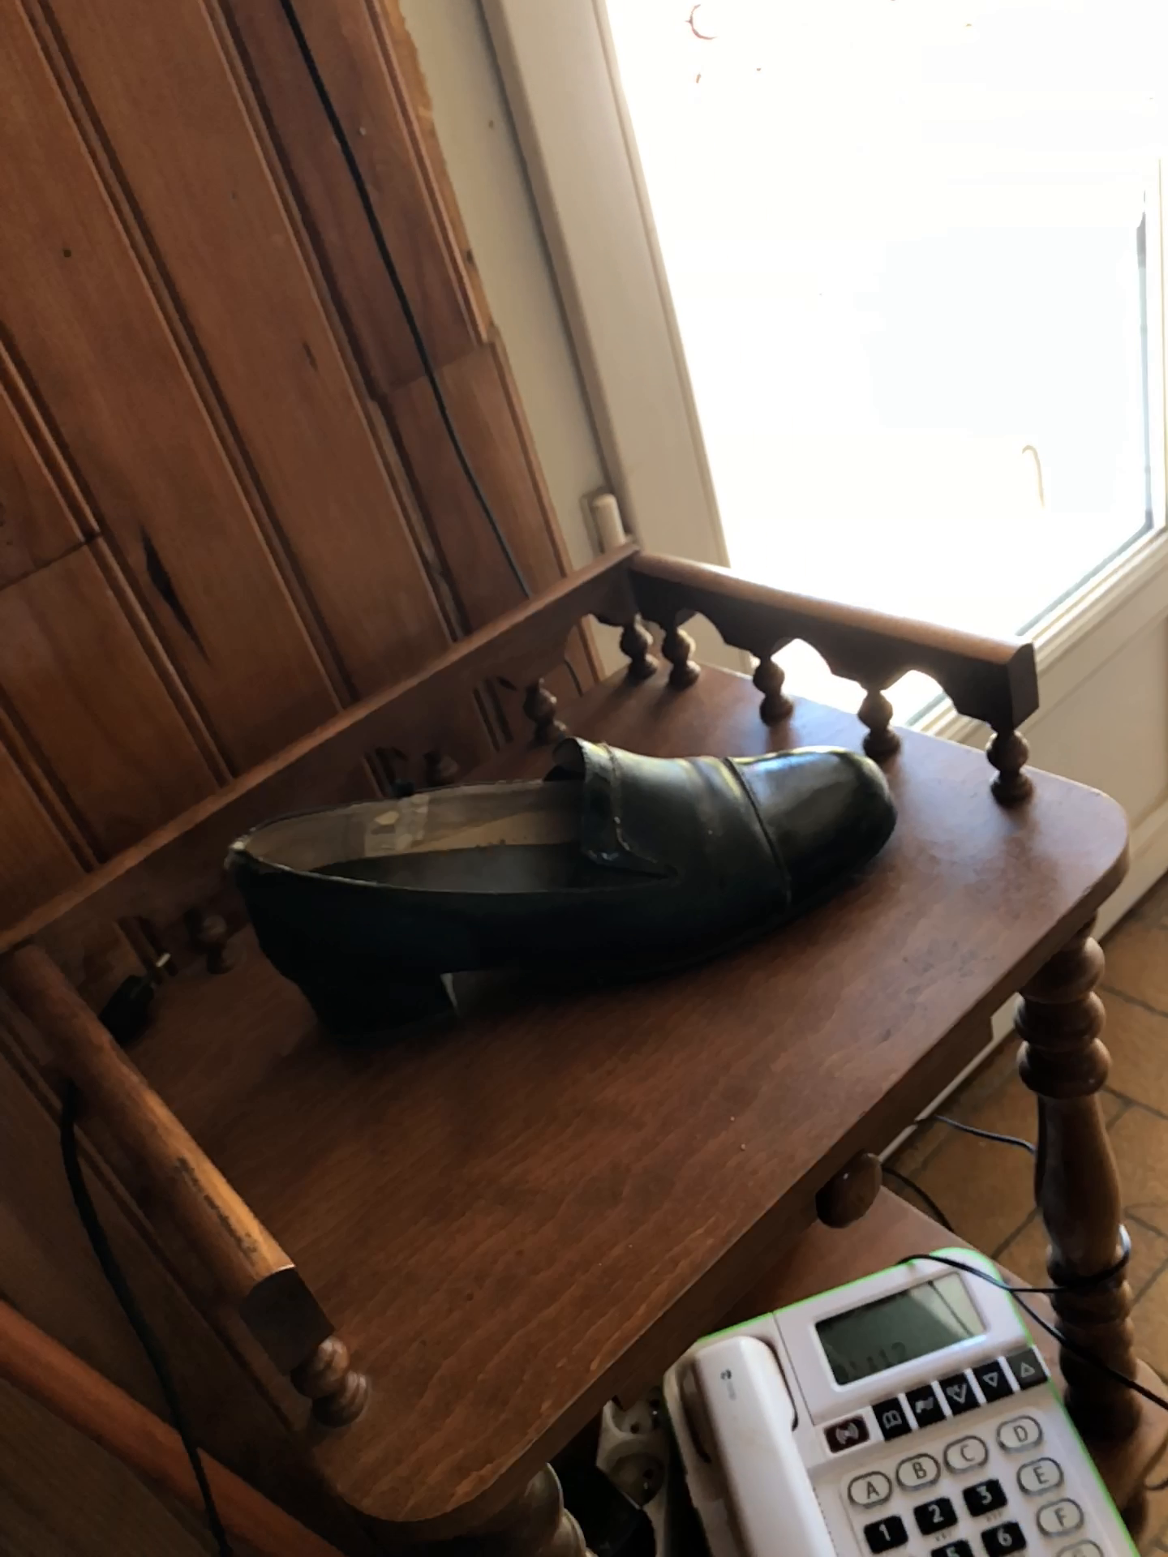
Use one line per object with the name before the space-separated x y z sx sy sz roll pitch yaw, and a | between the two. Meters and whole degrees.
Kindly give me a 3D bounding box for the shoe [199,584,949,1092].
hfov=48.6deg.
shoe | -0.004 0.021 0.513 0.260 0.090 0.101 -17 33 2
